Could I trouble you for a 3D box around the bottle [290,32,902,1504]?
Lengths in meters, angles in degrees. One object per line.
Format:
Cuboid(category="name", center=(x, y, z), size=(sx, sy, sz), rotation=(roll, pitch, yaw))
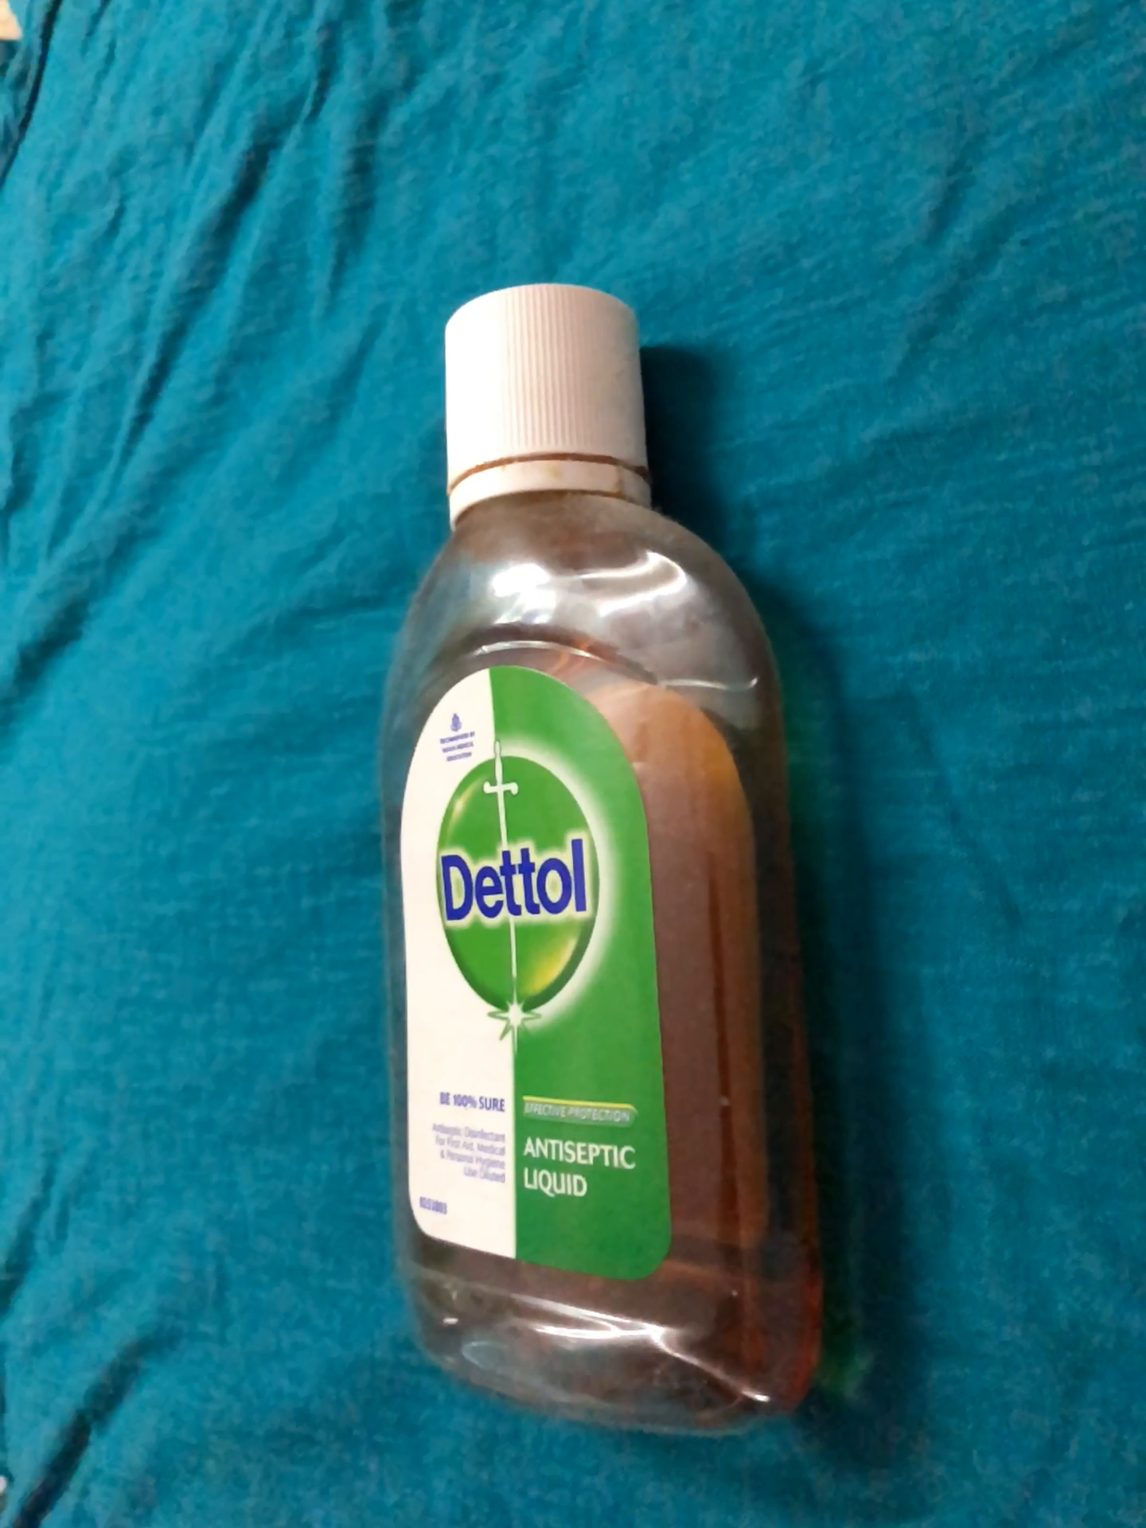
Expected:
Cuboid(category="bottle", center=(-0.001, -0.001, 0.197), size=(0.080, 0.040, 0.180), rotation=(-8, 79, 40))
